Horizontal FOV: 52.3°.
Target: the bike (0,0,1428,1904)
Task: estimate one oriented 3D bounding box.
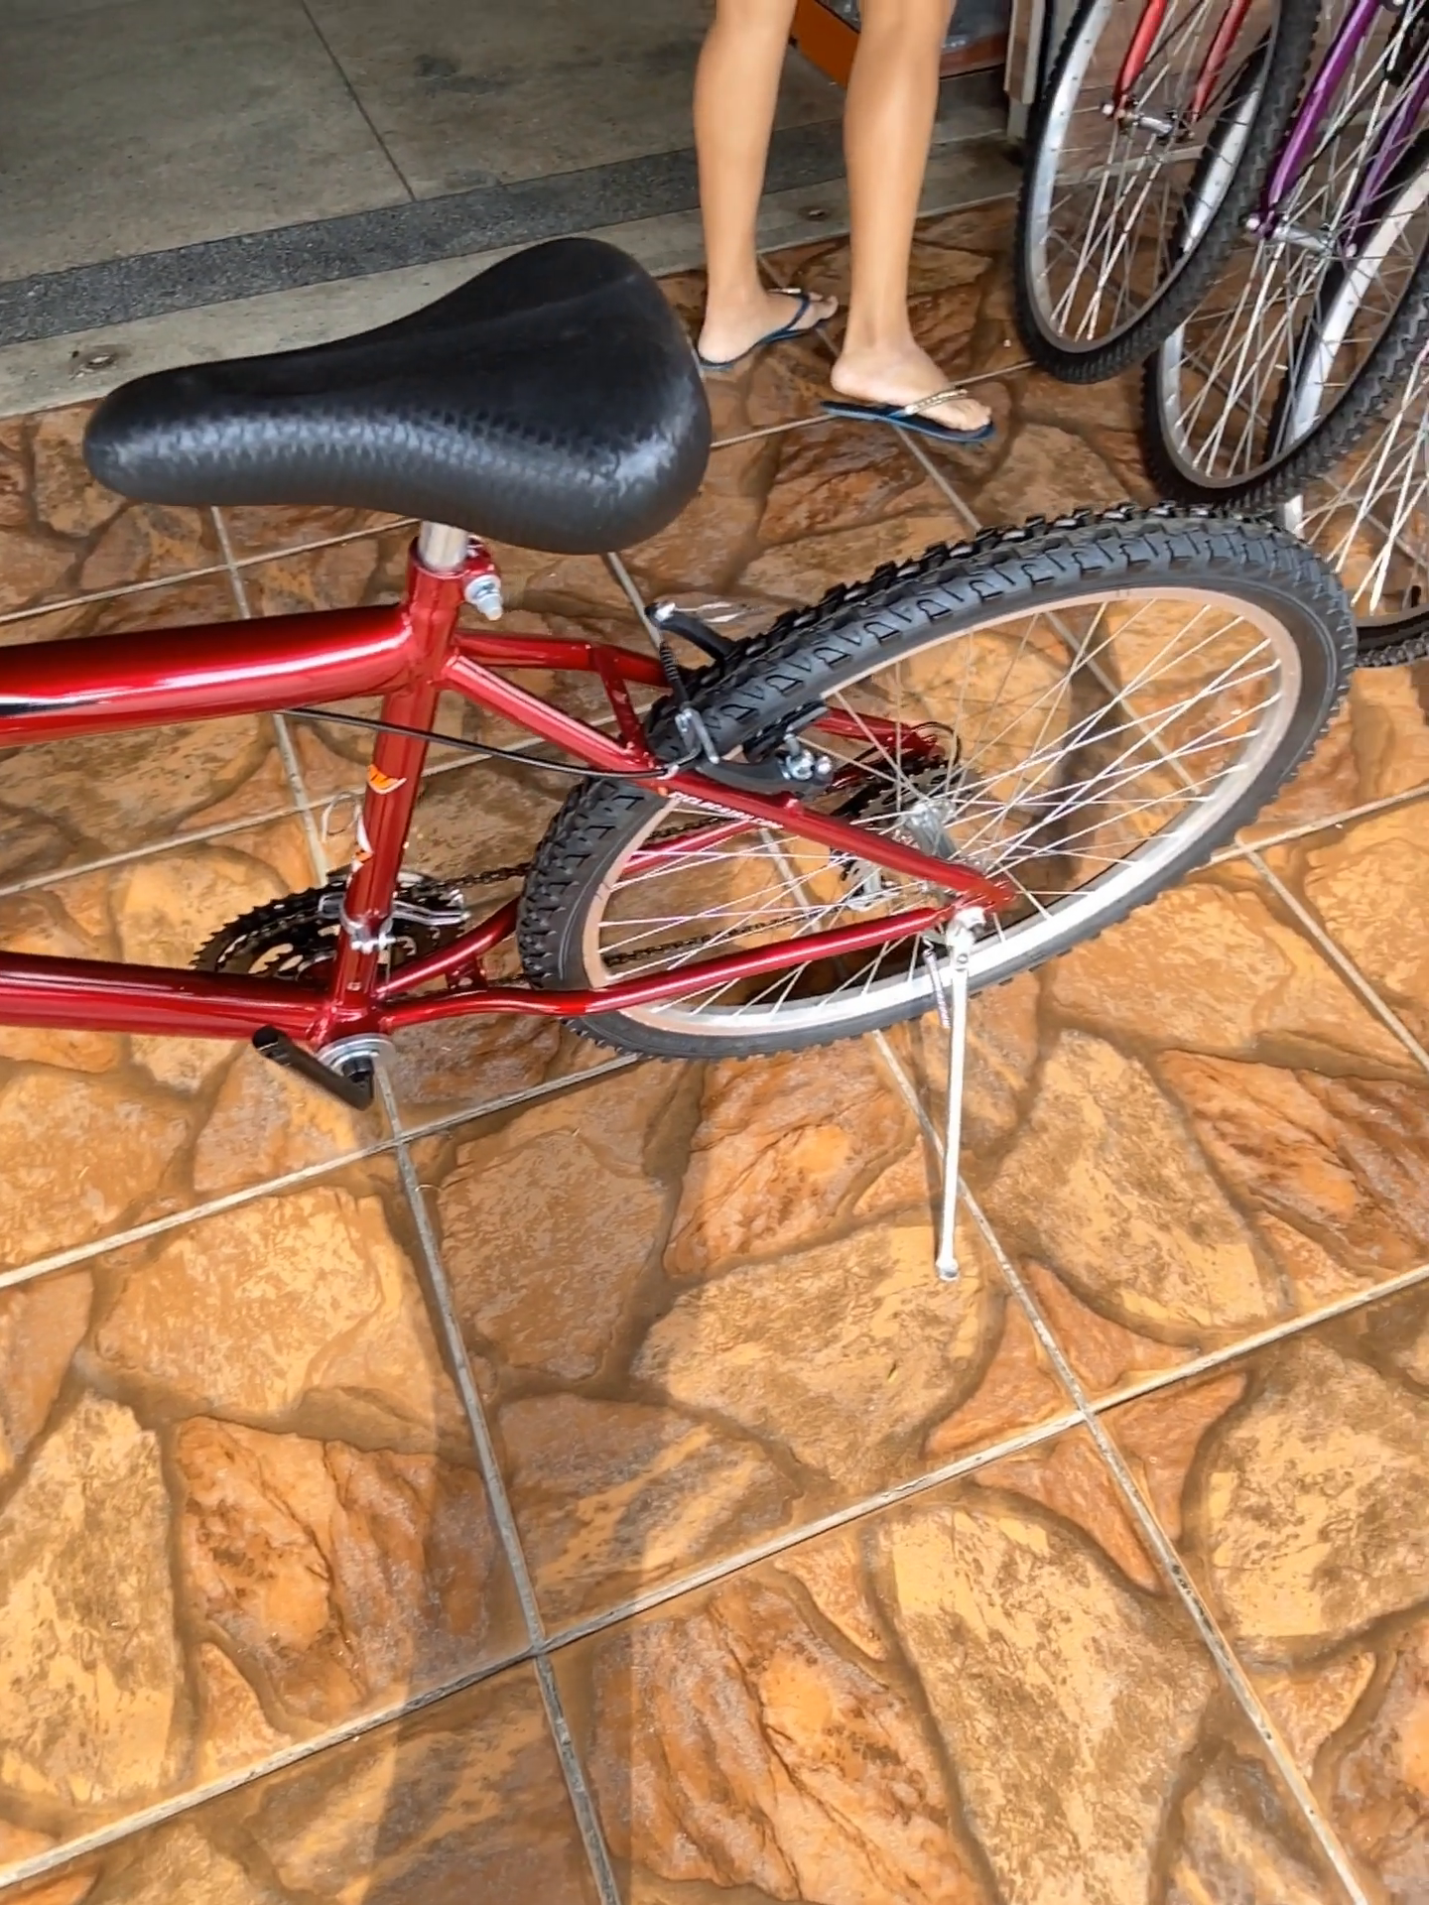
[{"bbox_3d":[-0.240,0.116,0.754,1.558,0.986,0.601,-25,53,-13],"label":"bike"}]
